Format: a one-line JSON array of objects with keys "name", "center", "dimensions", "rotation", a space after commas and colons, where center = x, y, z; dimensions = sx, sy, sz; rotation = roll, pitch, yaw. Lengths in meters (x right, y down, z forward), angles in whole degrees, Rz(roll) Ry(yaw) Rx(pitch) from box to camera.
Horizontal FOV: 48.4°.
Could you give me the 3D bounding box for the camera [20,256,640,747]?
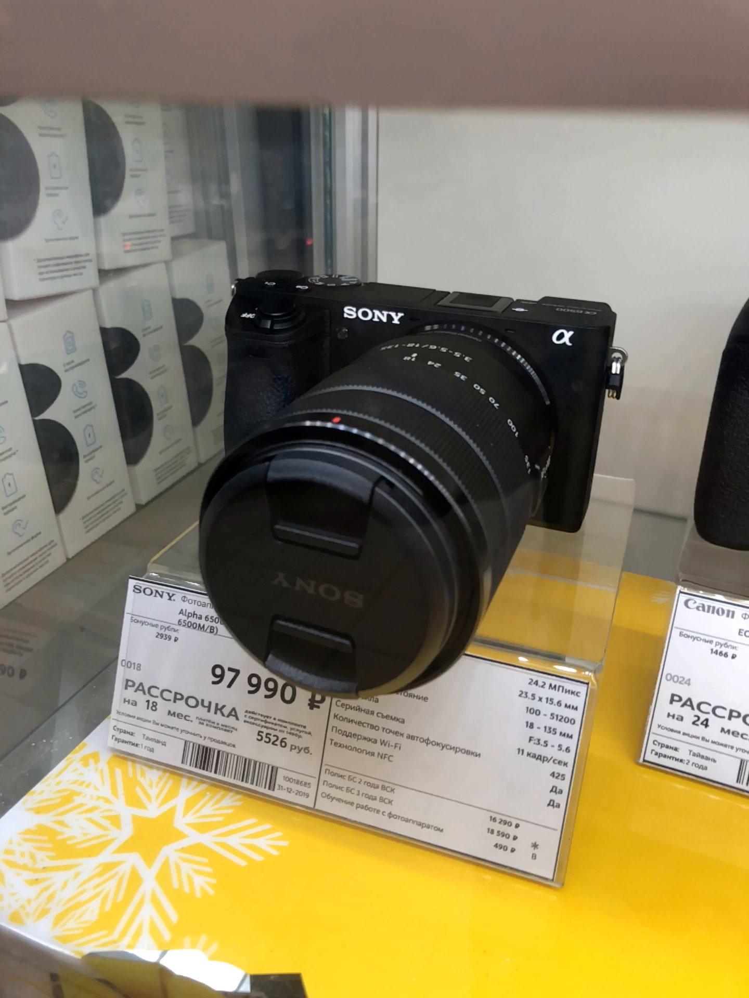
[{"name": "camera", "center": [-0.003, -0.016, 0.250], "dimensions": [0.130, 0.080, 0.123], "rotation": [12, 29, 23]}]
